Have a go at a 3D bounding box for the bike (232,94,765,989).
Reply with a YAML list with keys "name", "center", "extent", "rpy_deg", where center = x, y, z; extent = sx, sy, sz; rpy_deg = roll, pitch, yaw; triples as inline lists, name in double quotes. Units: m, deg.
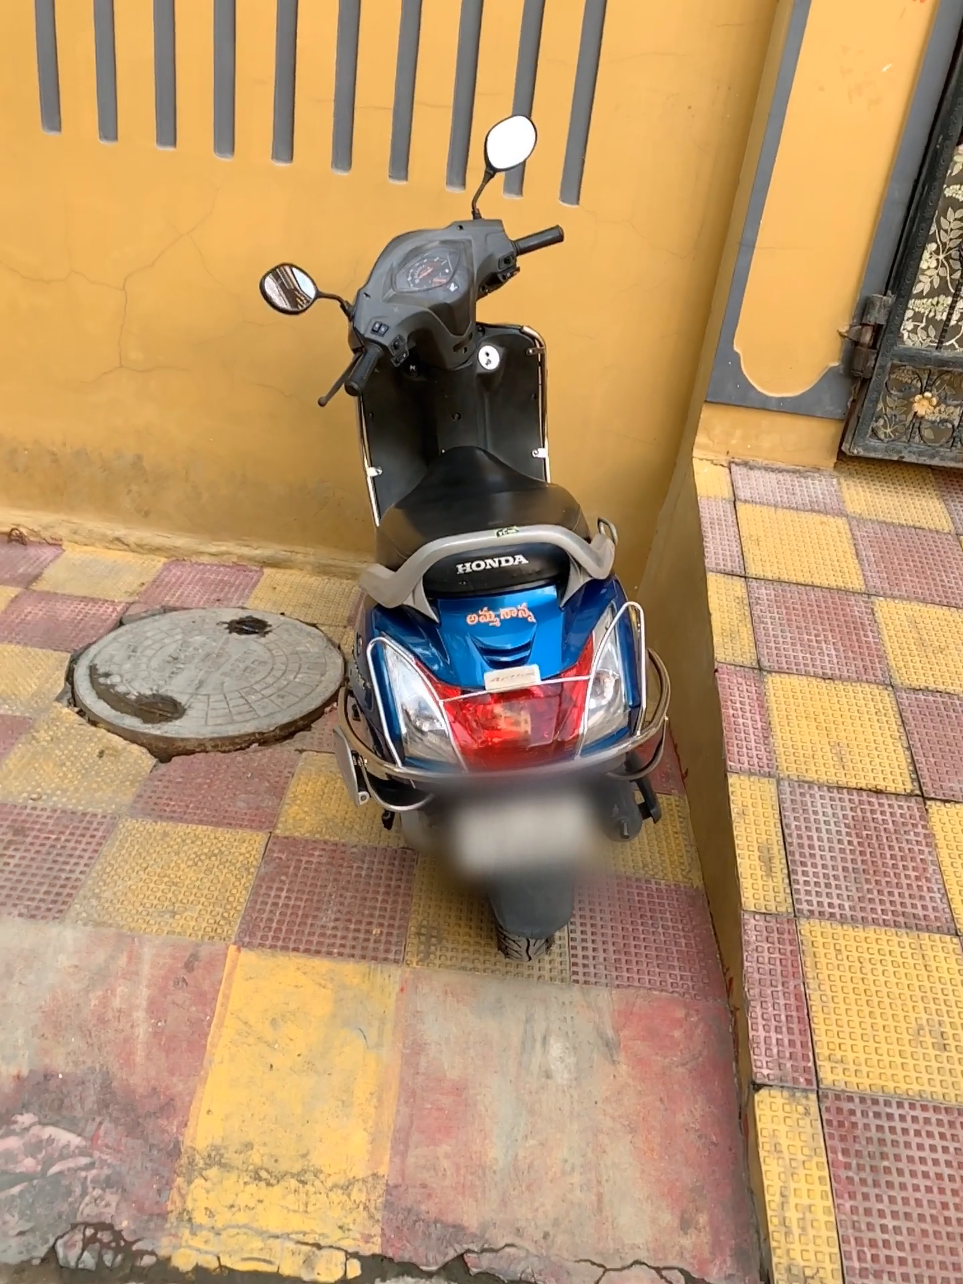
- name: "bike"
  center: [-0.169, -0.363, 1.983]
  extent: [0.596, 1.098, 1.533]
  rpy_deg: [2, 31, -13]
